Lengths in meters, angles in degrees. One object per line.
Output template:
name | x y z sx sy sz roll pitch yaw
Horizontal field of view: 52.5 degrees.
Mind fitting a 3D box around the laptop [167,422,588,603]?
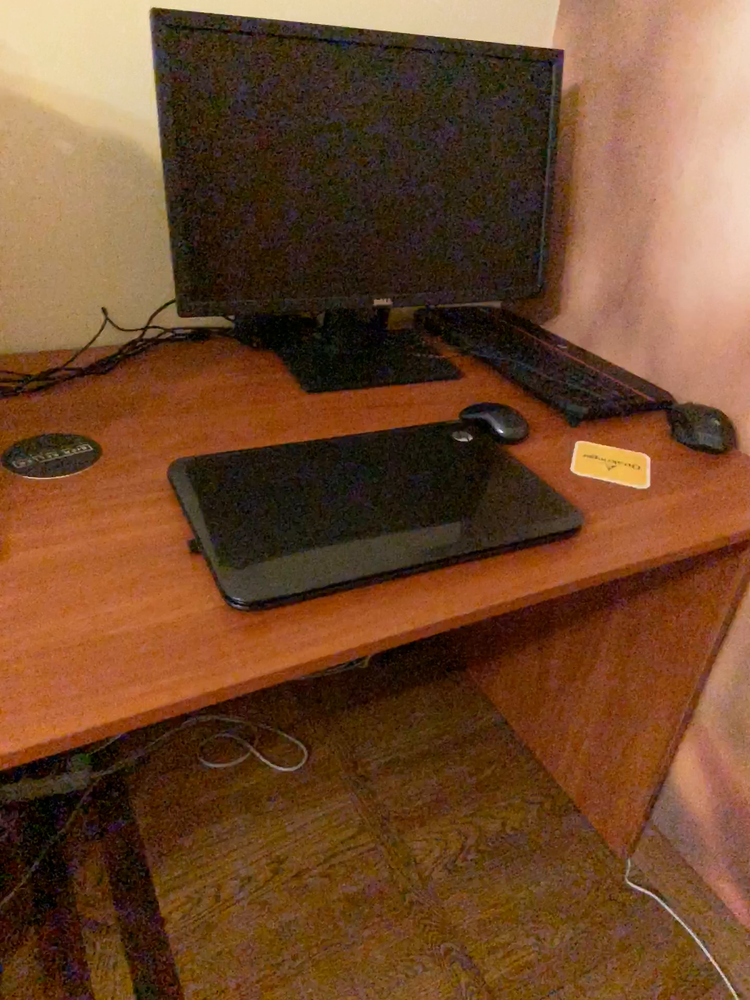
laptop | -0.001 -0.007 0.817 0.382 0.001 0.243 -11 36 -24
